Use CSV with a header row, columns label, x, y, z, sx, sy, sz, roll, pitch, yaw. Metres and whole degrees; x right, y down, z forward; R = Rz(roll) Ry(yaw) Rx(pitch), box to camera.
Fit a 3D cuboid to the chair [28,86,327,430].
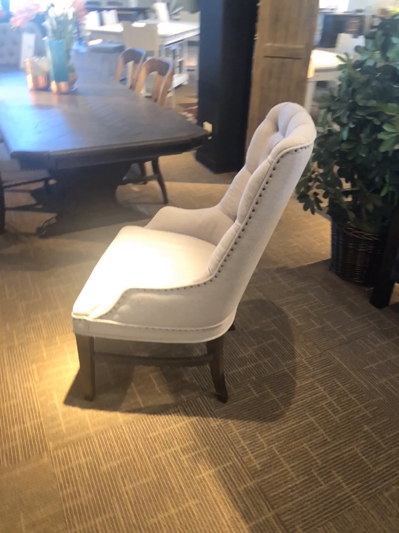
label,x,y,z,sx,sy,sz,roll,pitch,yaw
chair,-0.029,-0.052,1.621,0.760,1.015,0.643,6,32,7
